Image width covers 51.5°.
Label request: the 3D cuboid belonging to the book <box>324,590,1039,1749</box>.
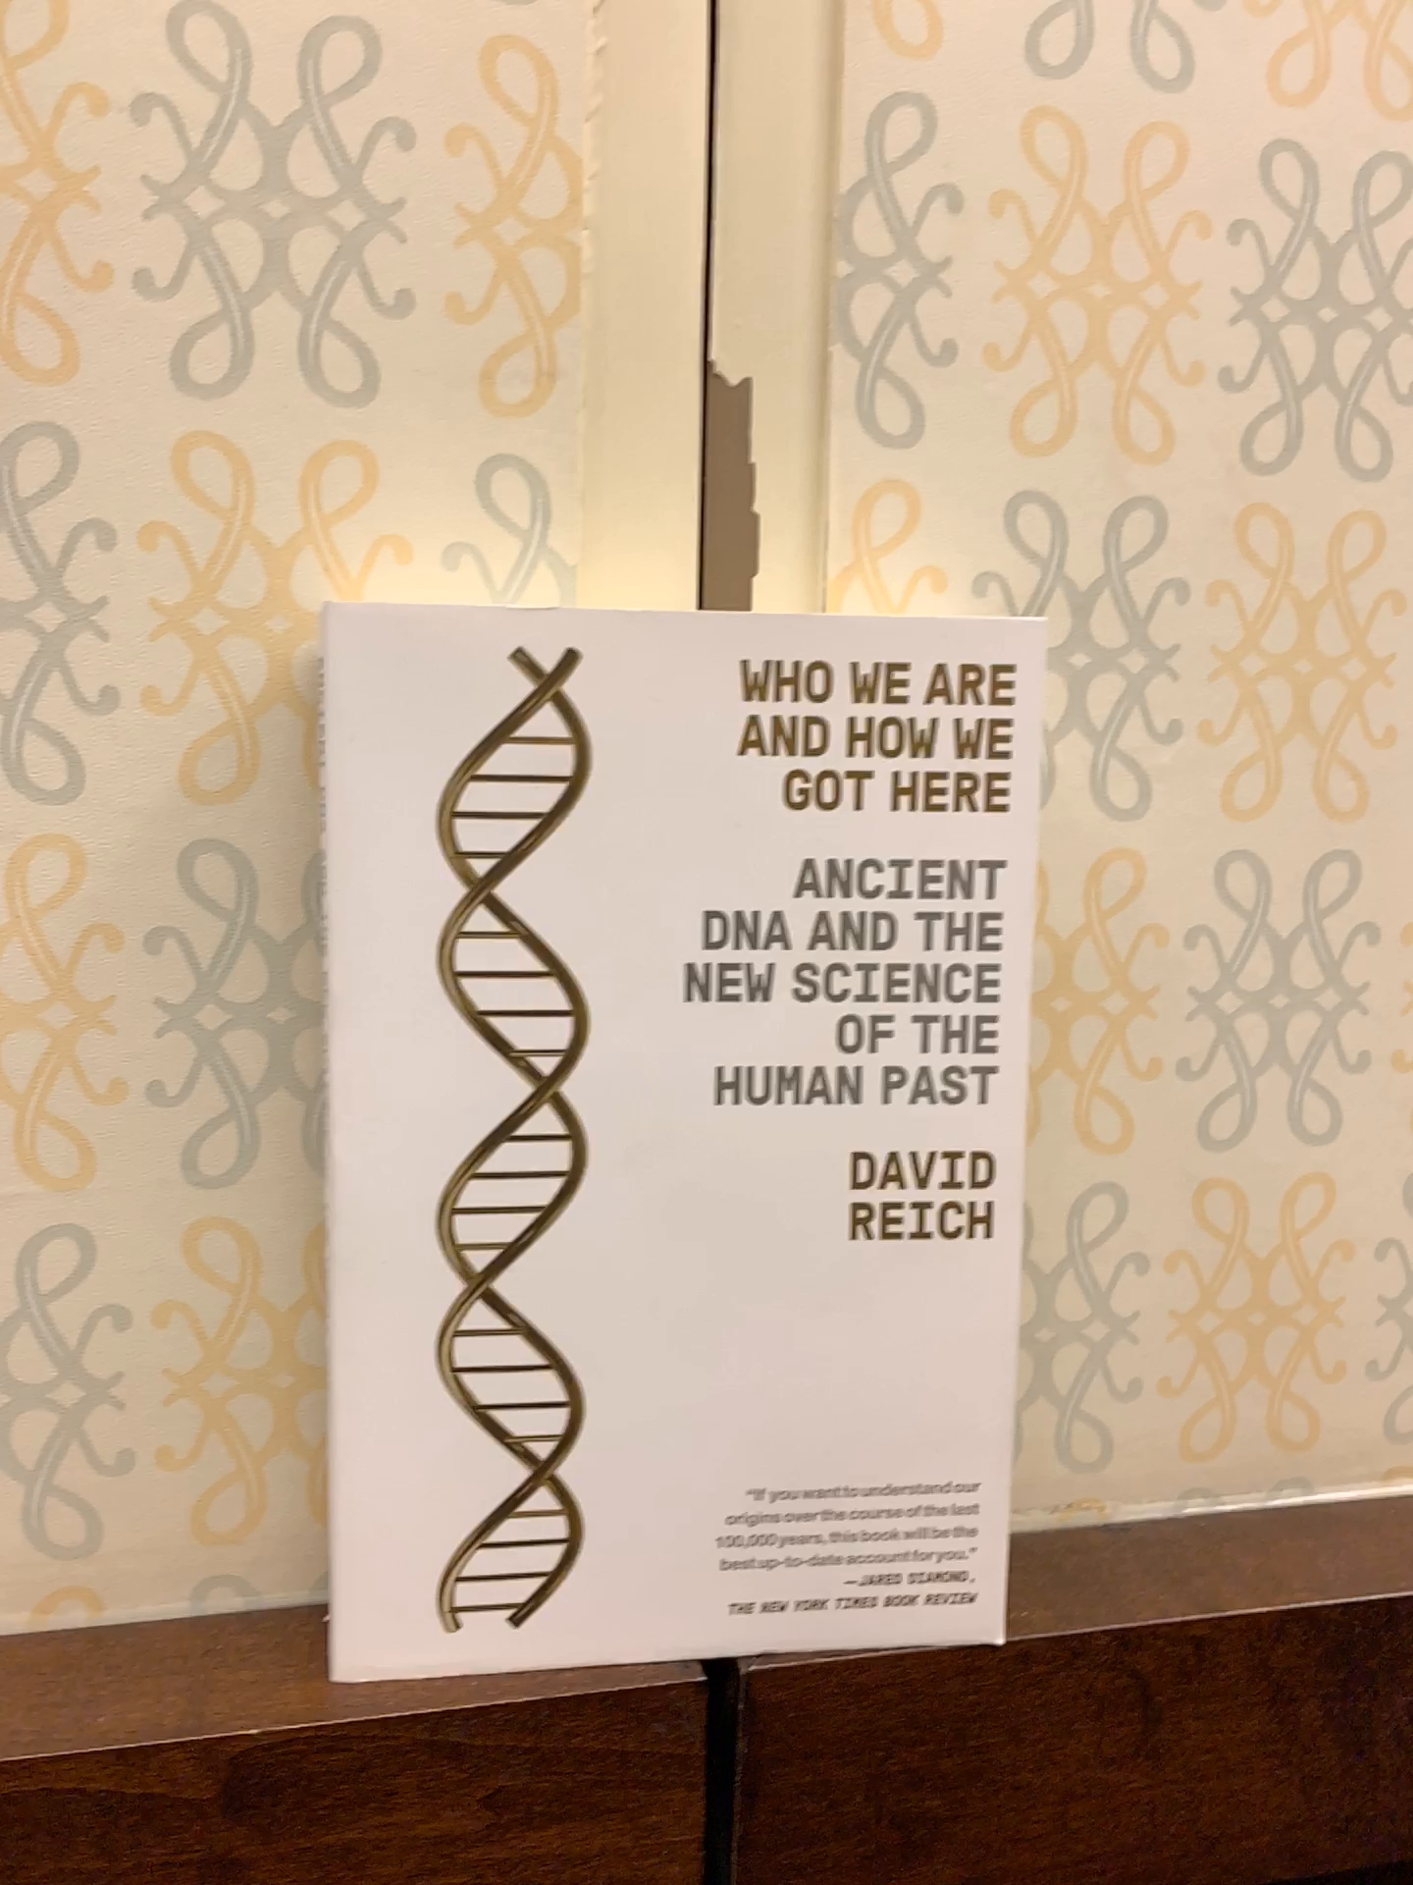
[{"bbox_3d":[-0.007,0.039,0.283,0.127,0.199,0.041,0,6,-14],"label":"book"}]
